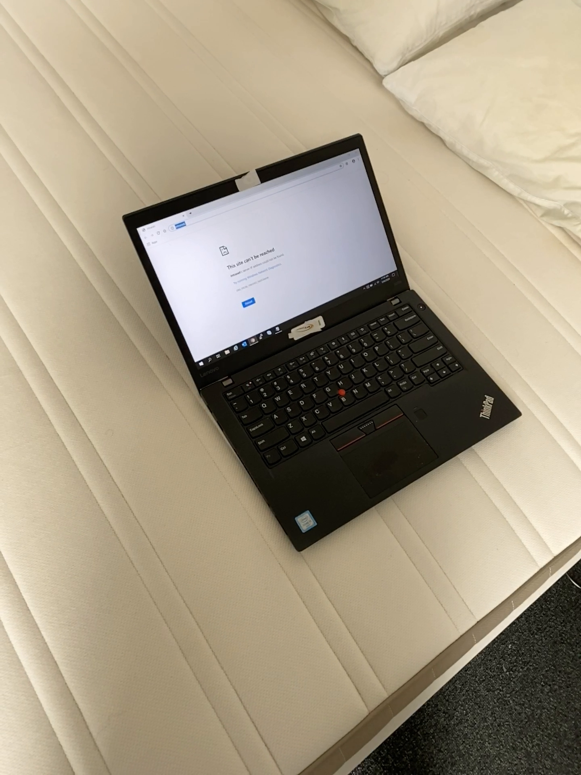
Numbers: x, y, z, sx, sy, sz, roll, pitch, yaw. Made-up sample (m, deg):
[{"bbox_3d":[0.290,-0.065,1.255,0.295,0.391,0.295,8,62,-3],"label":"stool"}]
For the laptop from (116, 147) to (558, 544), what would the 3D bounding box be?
[{"bbox_3d":[0.038,-0.076,0.690,0.321,0.120,0.381,-26,65,-22],"label":"laptop"}]
